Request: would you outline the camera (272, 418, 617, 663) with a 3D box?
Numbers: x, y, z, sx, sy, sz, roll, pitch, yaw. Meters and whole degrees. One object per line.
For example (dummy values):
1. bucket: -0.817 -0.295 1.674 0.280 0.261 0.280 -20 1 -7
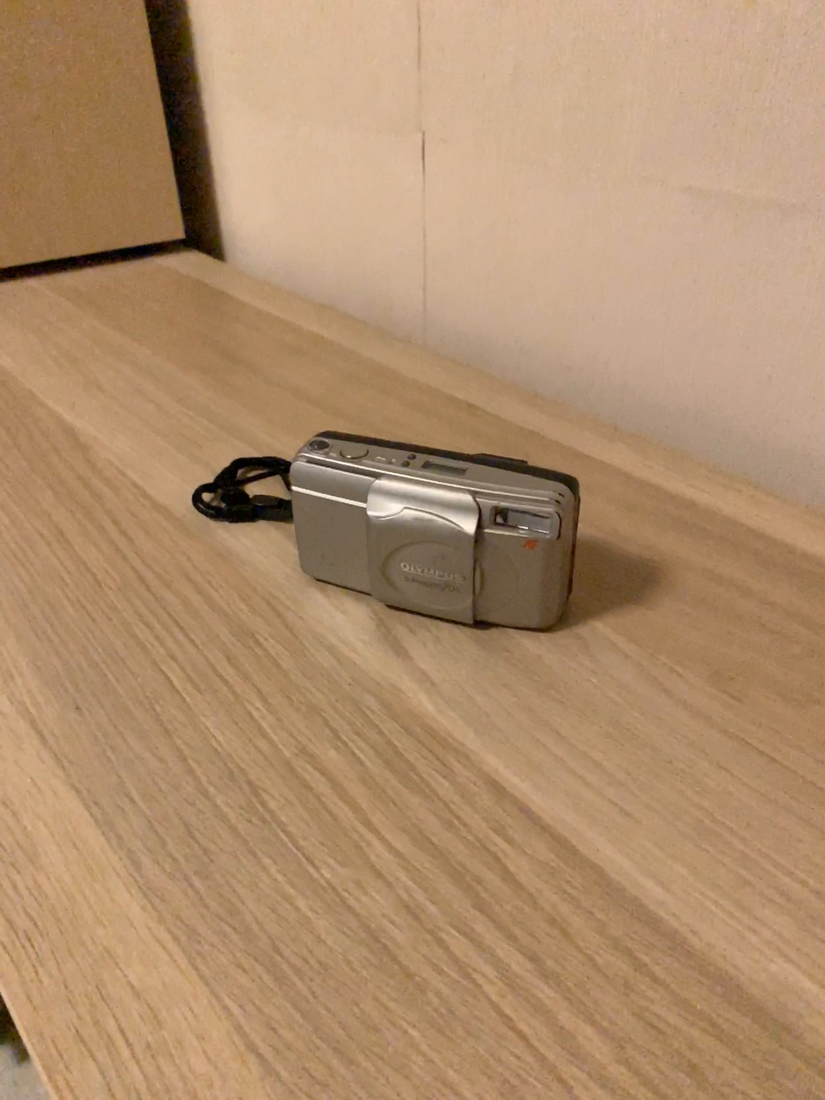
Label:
1. camera: 0.012 -0.007 0.347 0.126 0.059 0.046 13 36 20
